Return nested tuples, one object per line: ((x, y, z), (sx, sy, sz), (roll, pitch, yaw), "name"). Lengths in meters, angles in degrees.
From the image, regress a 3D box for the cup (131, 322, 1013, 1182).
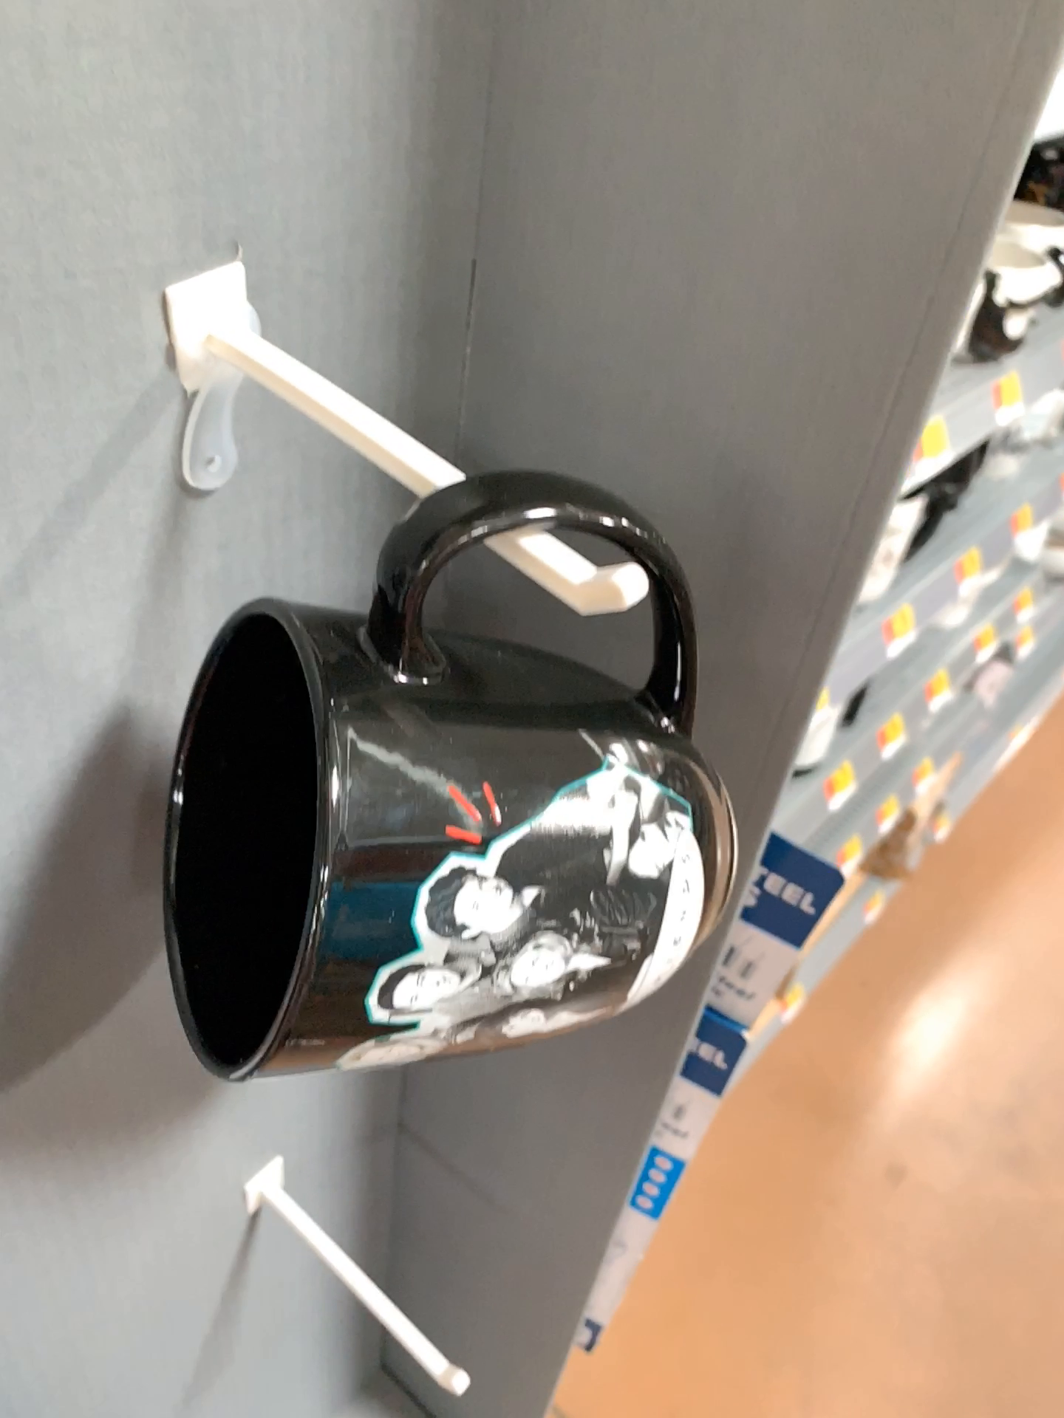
((-0.003, 0.013, 0.230), (0.115, 0.128, 0.087), (6, 35, -34), "cup")
